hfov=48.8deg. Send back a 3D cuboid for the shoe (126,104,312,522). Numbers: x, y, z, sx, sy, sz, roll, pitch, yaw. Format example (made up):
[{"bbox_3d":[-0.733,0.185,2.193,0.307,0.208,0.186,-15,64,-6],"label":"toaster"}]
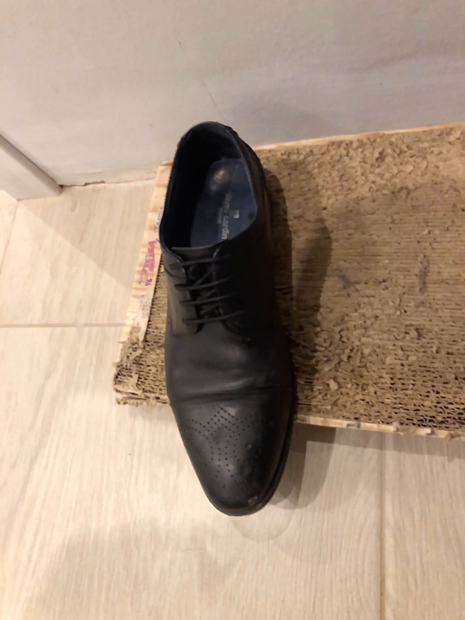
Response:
[{"bbox_3d":[-0.006,0.004,0.381,0.090,0.100,0.281,-8,68,19],"label":"shoe"}]
